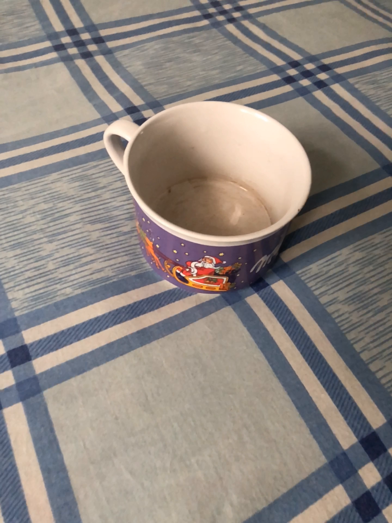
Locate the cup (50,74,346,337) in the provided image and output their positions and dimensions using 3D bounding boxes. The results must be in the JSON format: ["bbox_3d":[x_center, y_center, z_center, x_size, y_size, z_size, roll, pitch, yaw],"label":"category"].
[{"bbox_3d":[0.002,-0.041,0.269,0.130,0.063,0.105,30,58,17],"label":"cup"}]
